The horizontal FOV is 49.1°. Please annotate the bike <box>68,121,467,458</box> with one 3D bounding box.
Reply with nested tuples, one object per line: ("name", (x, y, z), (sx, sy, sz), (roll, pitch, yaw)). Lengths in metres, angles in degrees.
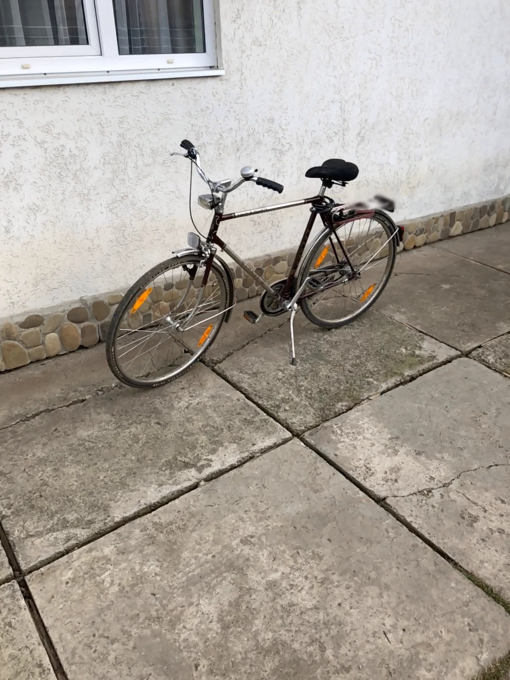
("bike", (0.138, -0.364, 2.629), (1.715, 1.054, 0.598), (-19, 34, -31))
